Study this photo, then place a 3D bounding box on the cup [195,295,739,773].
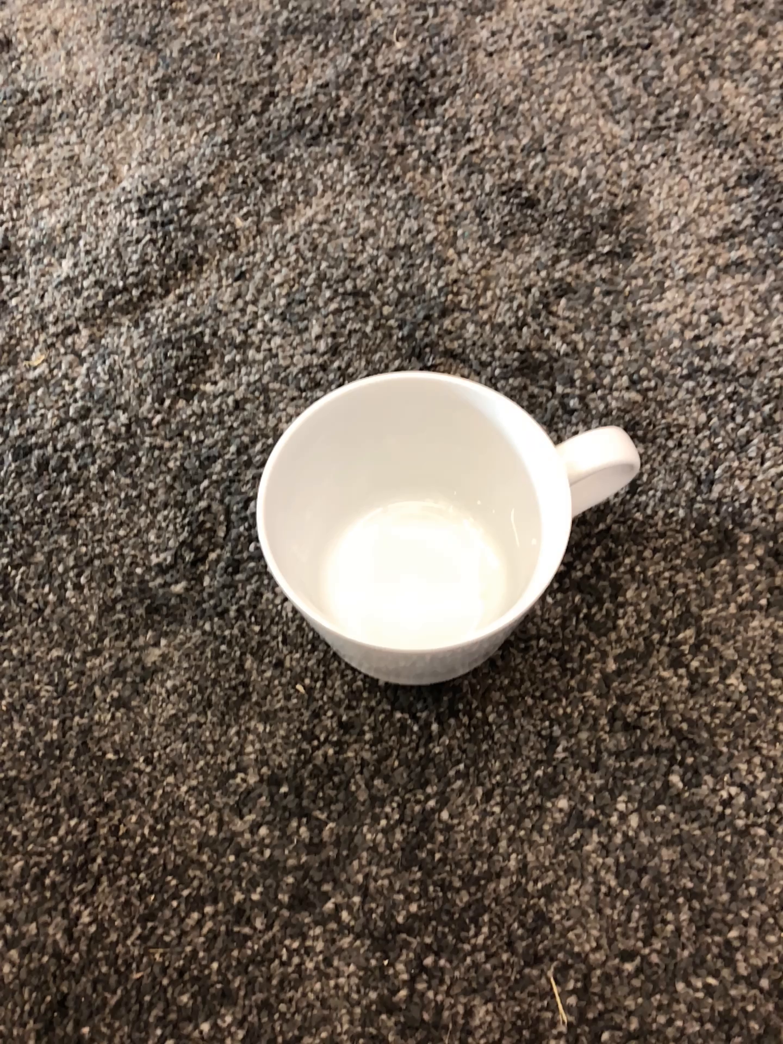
[{"bbox_3d":[0.022,0.006,0.308,0.140,0.080,0.100,-23,66,-7],"label":"cup"}]
